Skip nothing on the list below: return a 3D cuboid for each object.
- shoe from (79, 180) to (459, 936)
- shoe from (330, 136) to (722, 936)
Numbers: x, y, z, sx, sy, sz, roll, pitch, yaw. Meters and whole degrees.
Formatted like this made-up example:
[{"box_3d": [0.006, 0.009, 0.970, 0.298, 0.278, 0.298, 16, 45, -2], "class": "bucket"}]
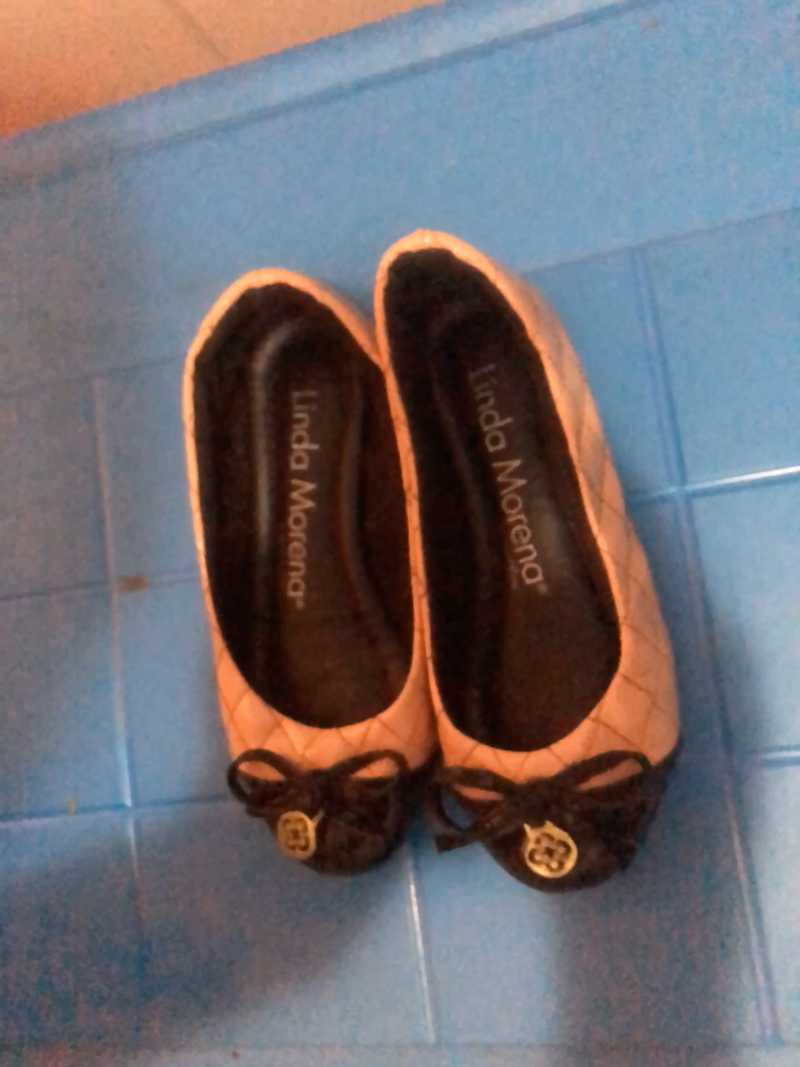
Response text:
[{"box_3d": [-0.035, 0.009, 0.274, 0.070, 0.080, 0.190, -8, 85, 14], "class": "shoe"}, {"box_3d": [0.037, 0.003, 0.262, 0.070, 0.080, 0.190, -9, 84, 14], "class": "shoe"}]
